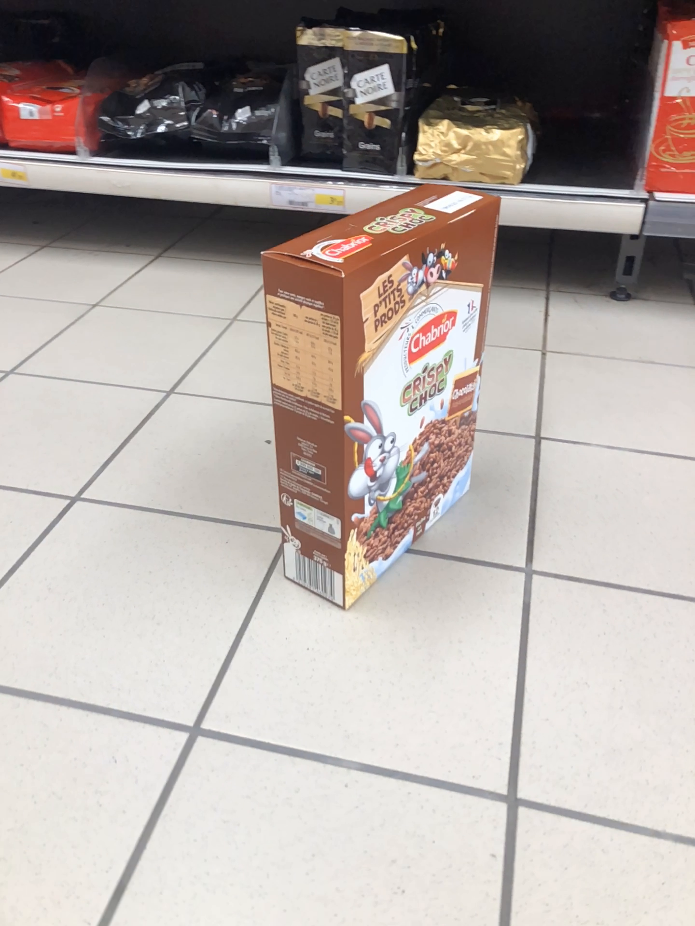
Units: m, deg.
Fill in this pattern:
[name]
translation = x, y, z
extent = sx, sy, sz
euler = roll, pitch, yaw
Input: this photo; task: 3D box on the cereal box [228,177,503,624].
[cereal box]
translation = 0.021, -0.051, 0.574
extent = 0.070, 0.268, 0.211
euler = 23, 40, 30
